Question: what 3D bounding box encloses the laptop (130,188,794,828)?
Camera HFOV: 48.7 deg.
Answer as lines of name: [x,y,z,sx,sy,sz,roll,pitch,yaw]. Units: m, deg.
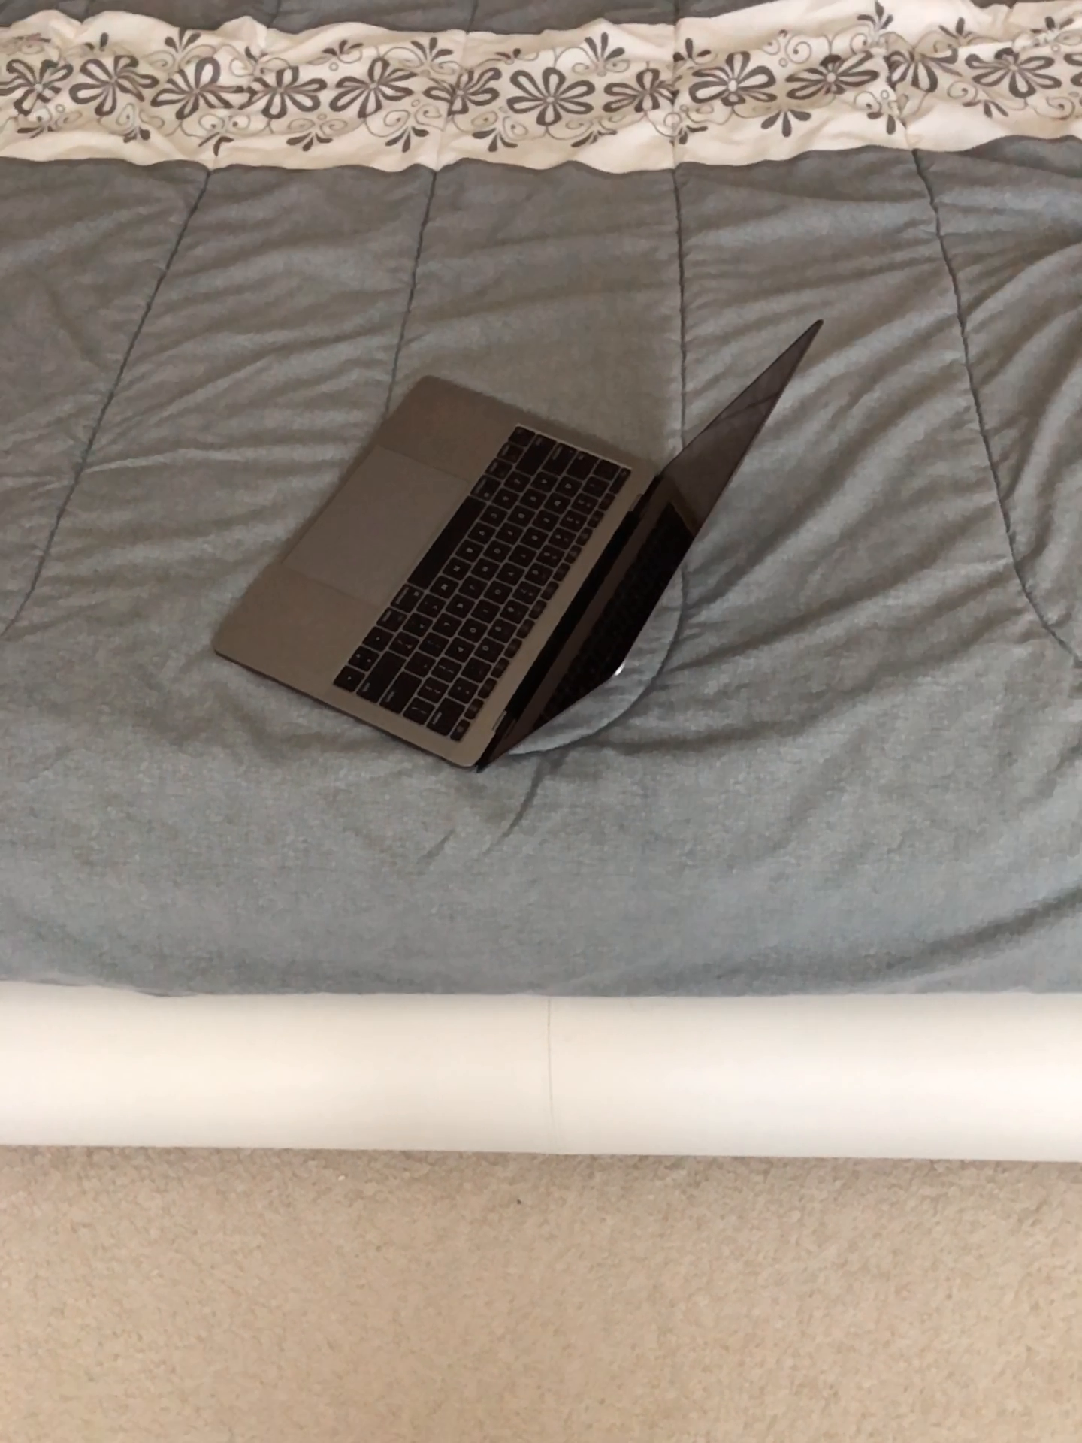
laptop: [-0.032,-0.143,0.751,0.281,0.159,0.280,24,61,15]
